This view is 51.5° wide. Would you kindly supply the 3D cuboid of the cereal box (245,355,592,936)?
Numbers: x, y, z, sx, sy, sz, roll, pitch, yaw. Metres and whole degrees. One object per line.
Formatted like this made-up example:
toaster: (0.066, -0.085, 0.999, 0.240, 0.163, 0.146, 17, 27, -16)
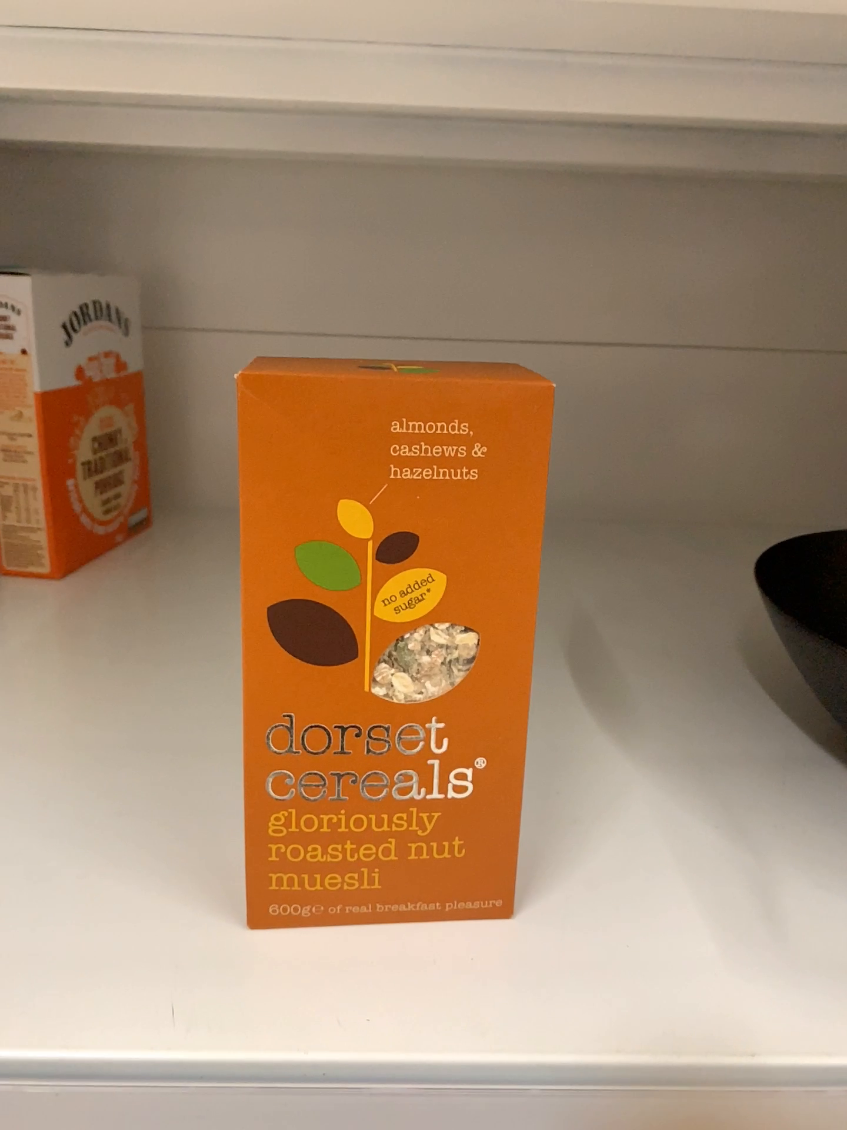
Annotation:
cereal box: (-0.008, 0.034, 0.364, 0.120, 0.228, 0.060, 0, 17, -7)
